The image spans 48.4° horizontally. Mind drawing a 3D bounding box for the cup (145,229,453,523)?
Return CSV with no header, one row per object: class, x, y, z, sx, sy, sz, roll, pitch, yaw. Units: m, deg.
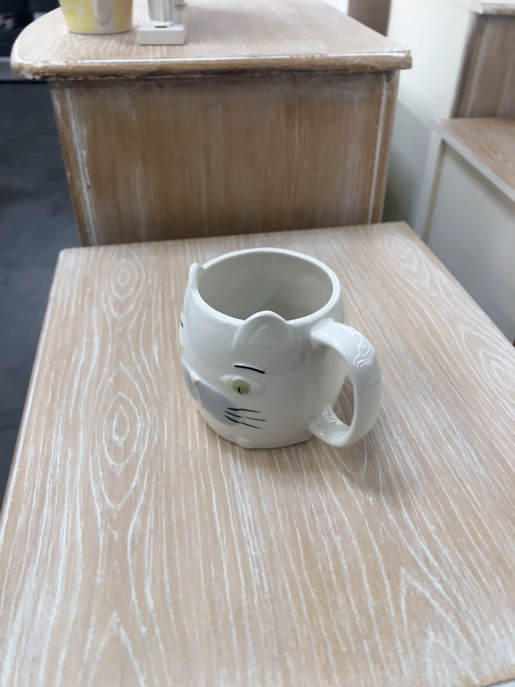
cup,0.019,0.008,0.308,0.092,0.073,0.124,-33,48,-30
